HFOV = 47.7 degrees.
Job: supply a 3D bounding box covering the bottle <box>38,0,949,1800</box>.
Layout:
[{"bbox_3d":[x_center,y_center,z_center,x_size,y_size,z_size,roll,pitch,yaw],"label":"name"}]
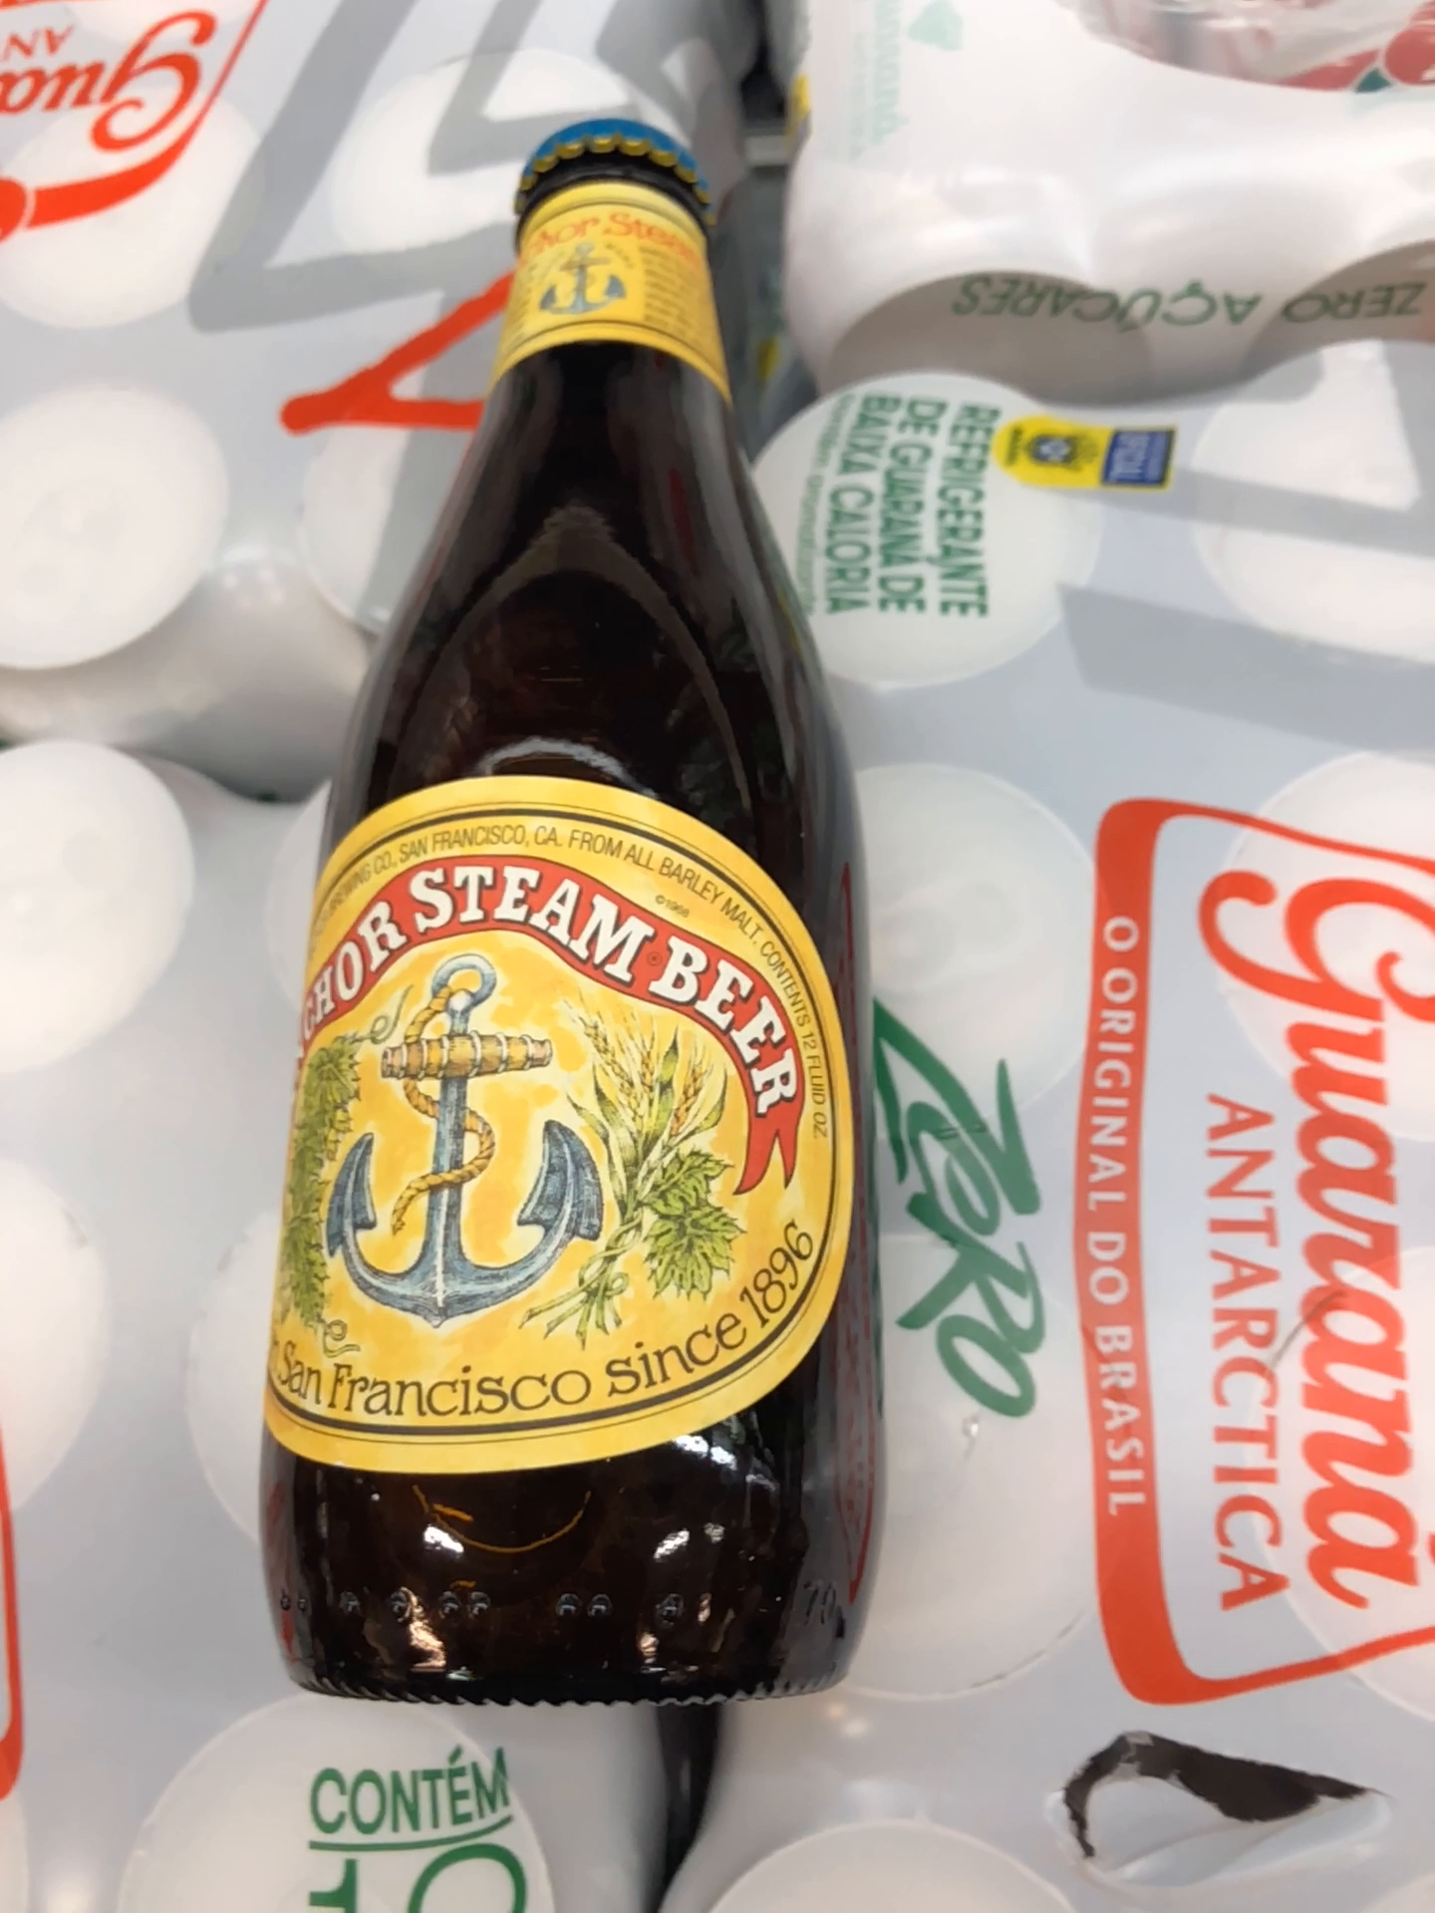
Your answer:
[{"bbox_3d":[-0.016,-0.031,0.187,0.070,0.060,0.220,-4,71,9],"label":"bottle"}]
